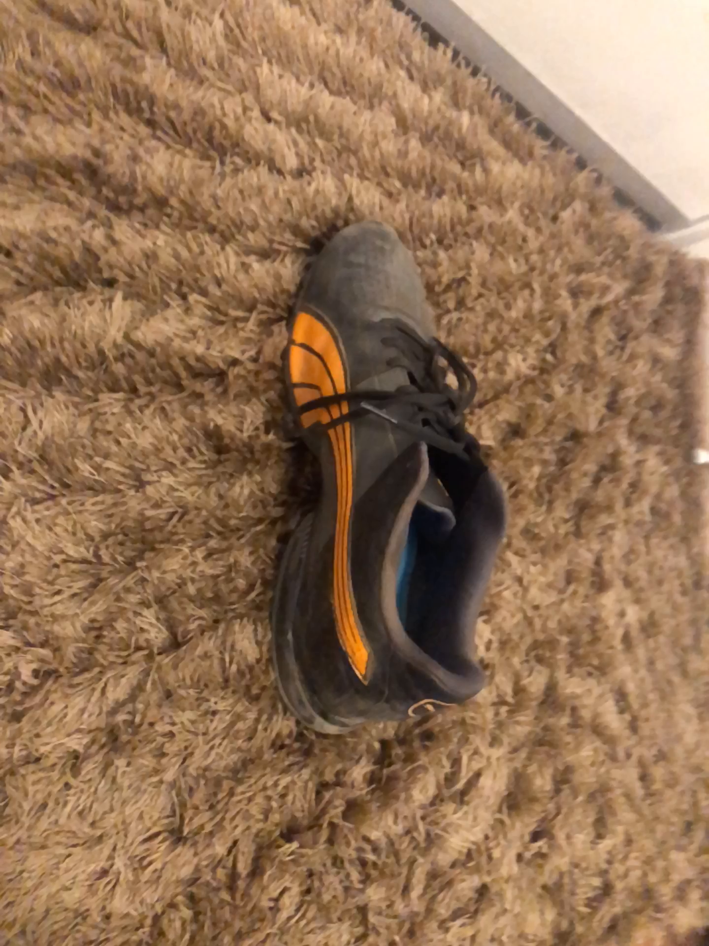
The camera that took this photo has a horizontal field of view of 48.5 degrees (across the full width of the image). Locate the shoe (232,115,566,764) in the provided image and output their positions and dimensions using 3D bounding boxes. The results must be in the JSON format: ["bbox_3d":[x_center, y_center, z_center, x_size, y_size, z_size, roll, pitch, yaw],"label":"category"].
[{"bbox_3d":[0.033,-0.010,0.429,0.123,0.109,0.300,17,71,-43],"label":"shoe"}]
